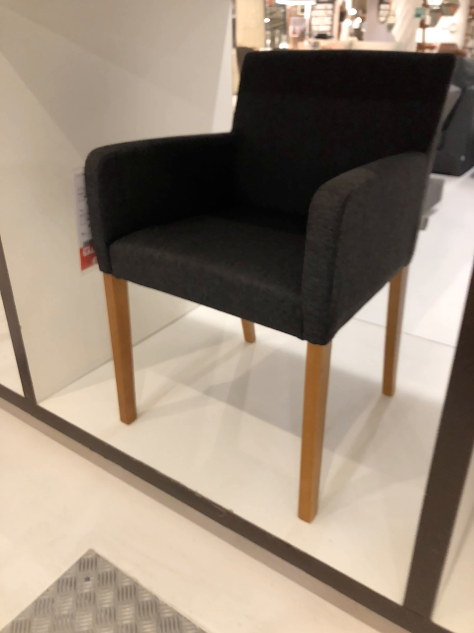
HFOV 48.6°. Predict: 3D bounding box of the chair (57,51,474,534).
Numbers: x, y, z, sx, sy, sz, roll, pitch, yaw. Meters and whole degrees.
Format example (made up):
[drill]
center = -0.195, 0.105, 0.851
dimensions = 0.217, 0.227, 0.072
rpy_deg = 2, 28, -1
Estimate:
[chair]
center = 0.075, -0.128, 1.155
dimensions = 0.561, 0.794, 0.563
rpy_deg = 19, 33, 32
